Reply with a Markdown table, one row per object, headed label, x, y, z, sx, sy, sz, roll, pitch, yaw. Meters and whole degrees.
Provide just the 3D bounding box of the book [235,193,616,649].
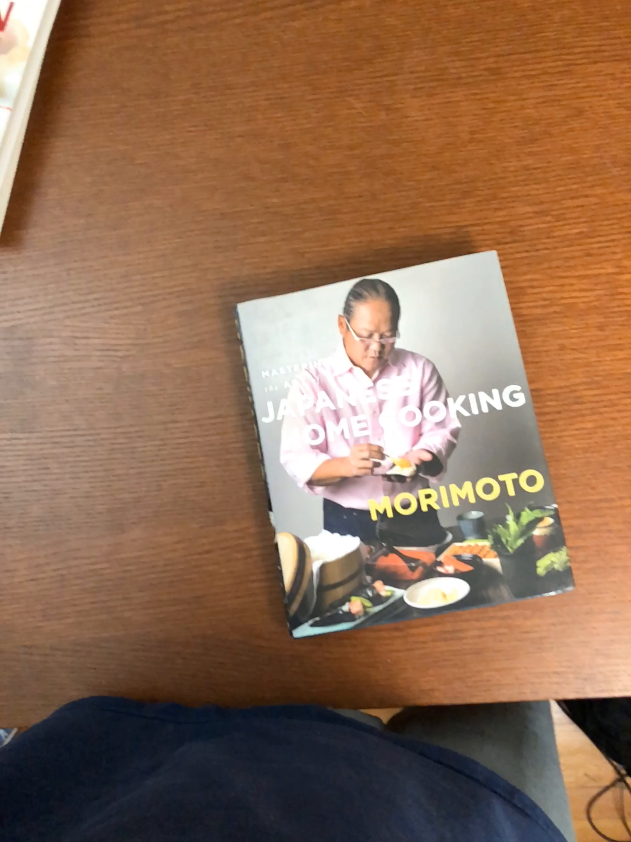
| label | x | y | z | sx | sy | sz | roll | pitch | yaw |
| --- | --- | --- | --- | --- | --- | --- | --- | --- | --- |
| book | 0.073 | -0.003 | 0.522 | 0.220 | 0.030 | 0.300 | -11 | 81 | 4 |
